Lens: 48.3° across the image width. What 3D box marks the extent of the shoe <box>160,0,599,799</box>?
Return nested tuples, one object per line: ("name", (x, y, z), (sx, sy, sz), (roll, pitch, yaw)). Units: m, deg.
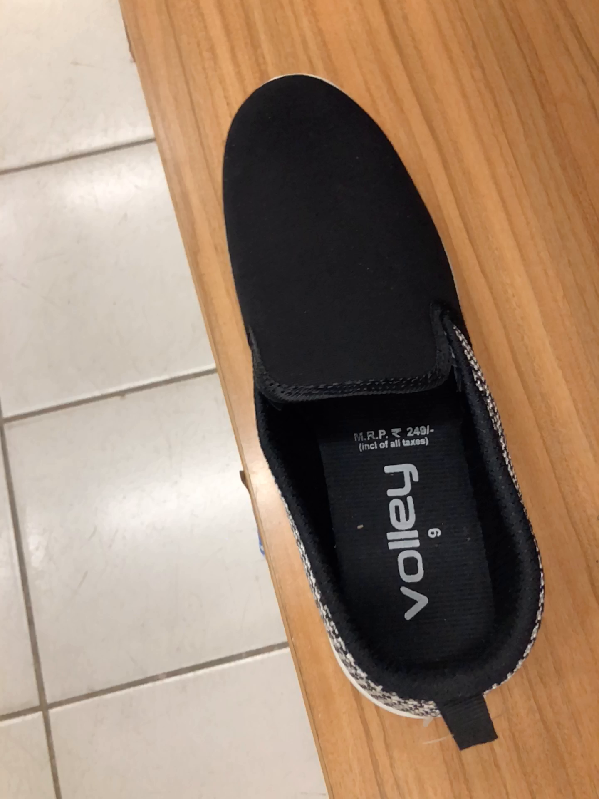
("shoe", (0.031, -0.014, 0.257), (0.100, 0.090, 0.290), (-13, 78, -3))
